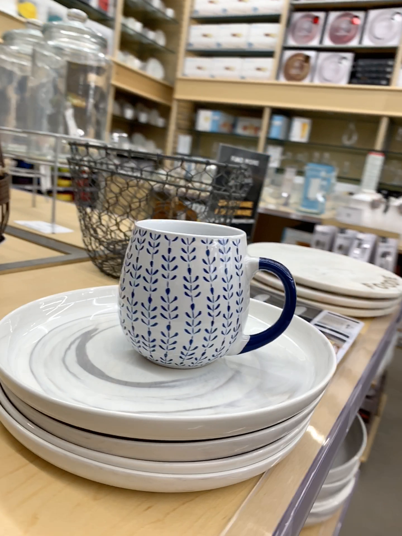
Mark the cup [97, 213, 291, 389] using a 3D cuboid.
[{"bbox_3d":[0.000,0.016,0.344,0.128,0.097,0.104,10,14,12],"label":"cup"}]
